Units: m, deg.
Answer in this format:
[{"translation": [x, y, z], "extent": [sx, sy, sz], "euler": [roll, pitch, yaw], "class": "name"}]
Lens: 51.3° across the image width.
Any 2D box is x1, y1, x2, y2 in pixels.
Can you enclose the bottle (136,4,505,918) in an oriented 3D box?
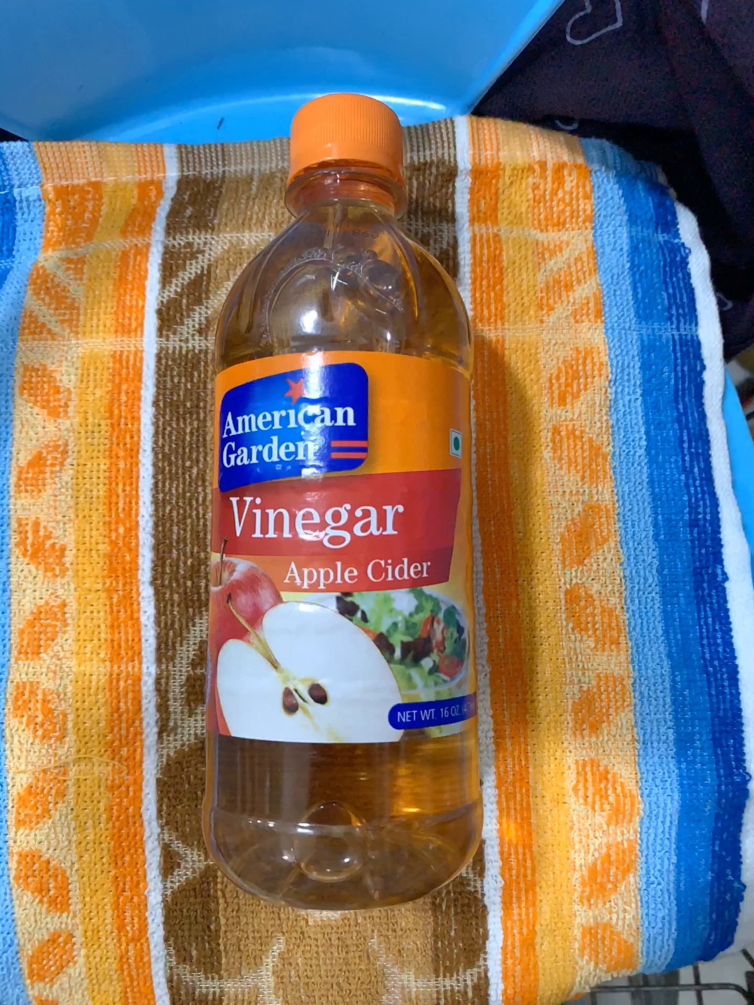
[{"translation": [-0.012, -0.009, 0.186], "extent": [0.070, 0.050, 0.180], "euler": [-3, 85, 16], "class": "bottle"}]
